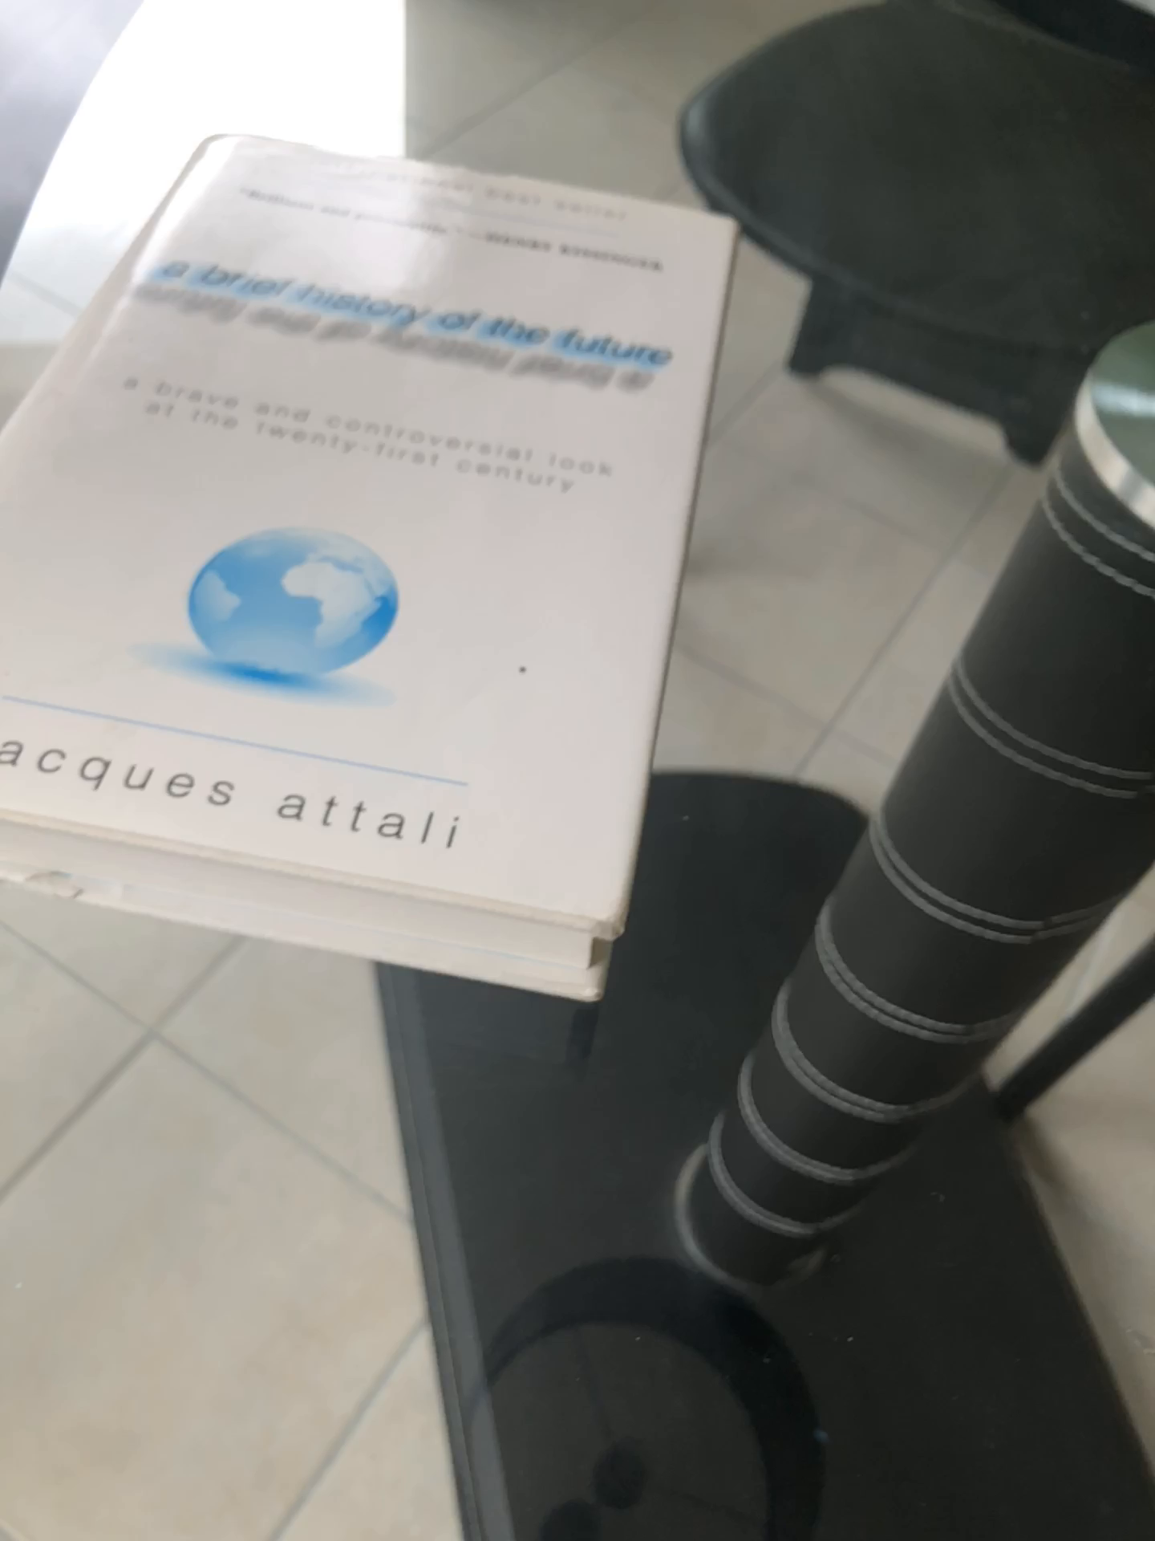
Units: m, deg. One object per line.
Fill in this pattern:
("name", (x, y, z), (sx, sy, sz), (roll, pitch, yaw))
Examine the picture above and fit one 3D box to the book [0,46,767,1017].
("book", (-0.049, -0.068, 0.269), (0.150, 0.040, 0.211), (12, 54, 2))
